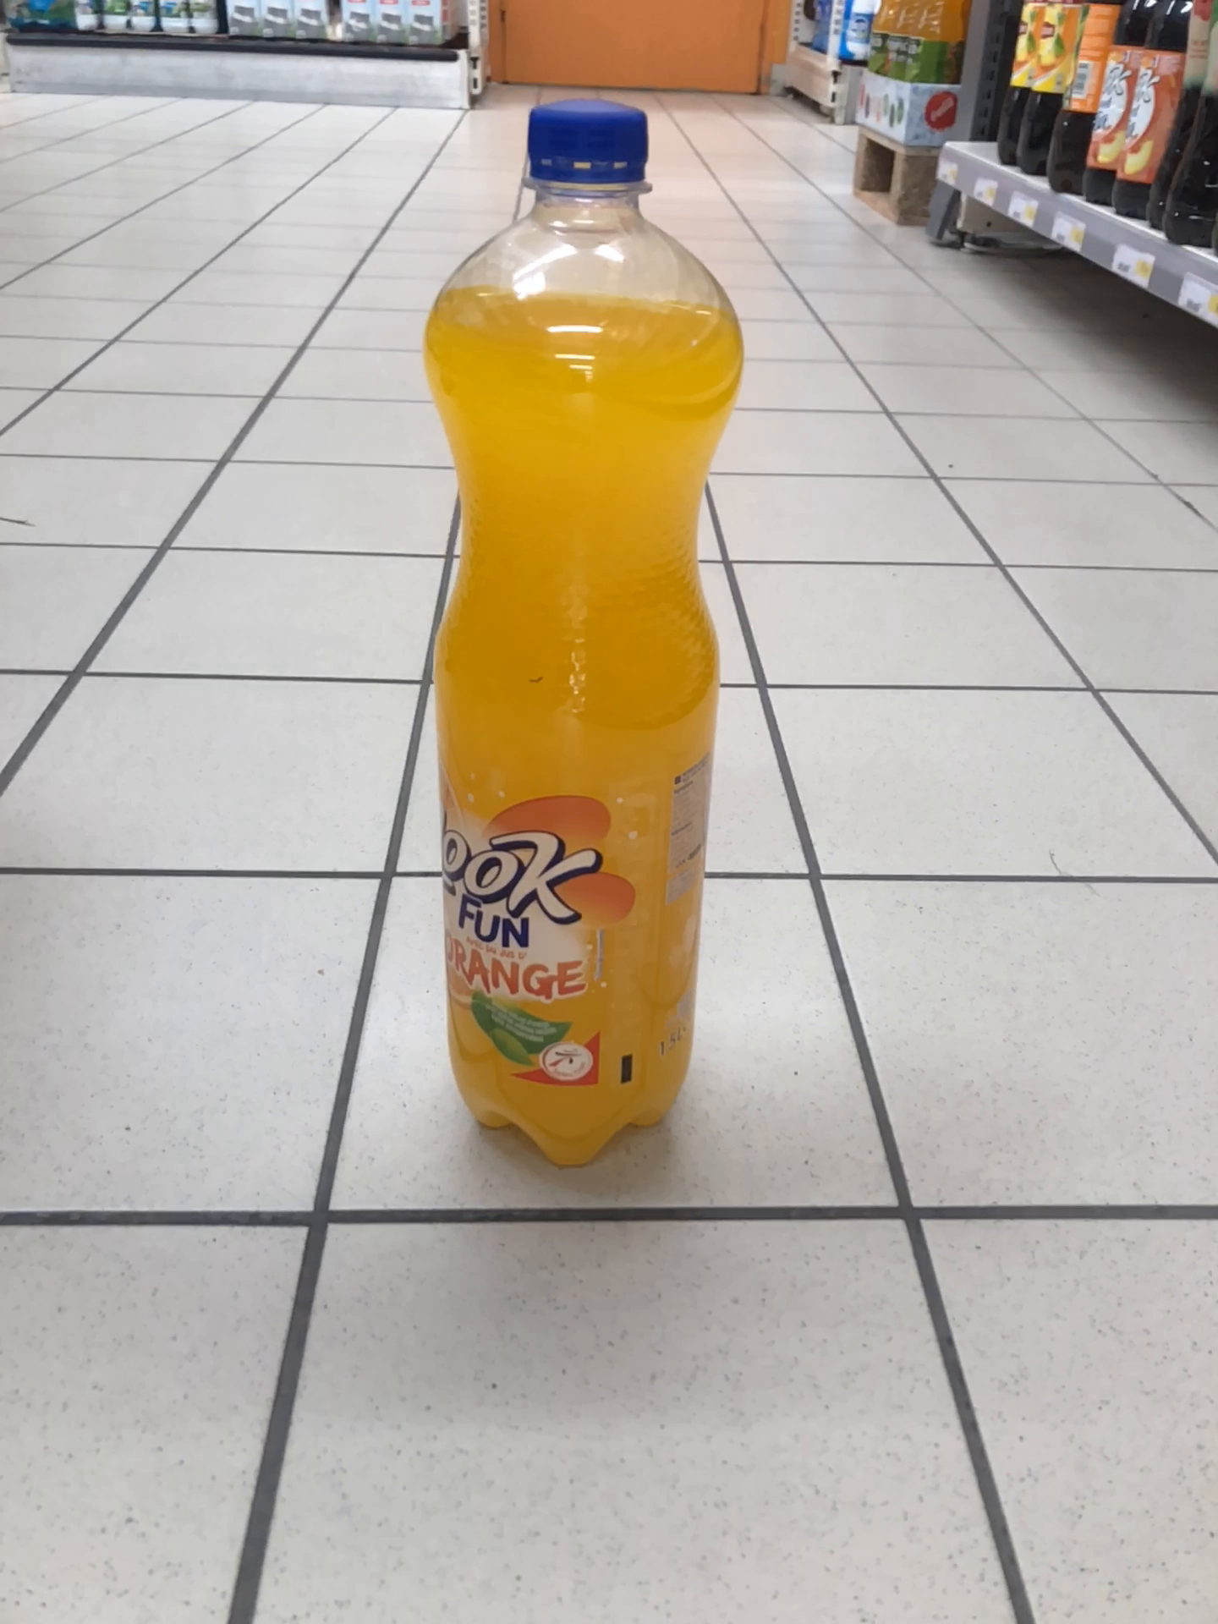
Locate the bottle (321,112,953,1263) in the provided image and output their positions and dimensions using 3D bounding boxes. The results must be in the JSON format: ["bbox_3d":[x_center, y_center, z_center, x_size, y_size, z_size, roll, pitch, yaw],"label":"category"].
[{"bbox_3d":[0.001,-0.031,0.390,0.110,0.298,0.101,2,31,-1],"label":"bottle"}]
